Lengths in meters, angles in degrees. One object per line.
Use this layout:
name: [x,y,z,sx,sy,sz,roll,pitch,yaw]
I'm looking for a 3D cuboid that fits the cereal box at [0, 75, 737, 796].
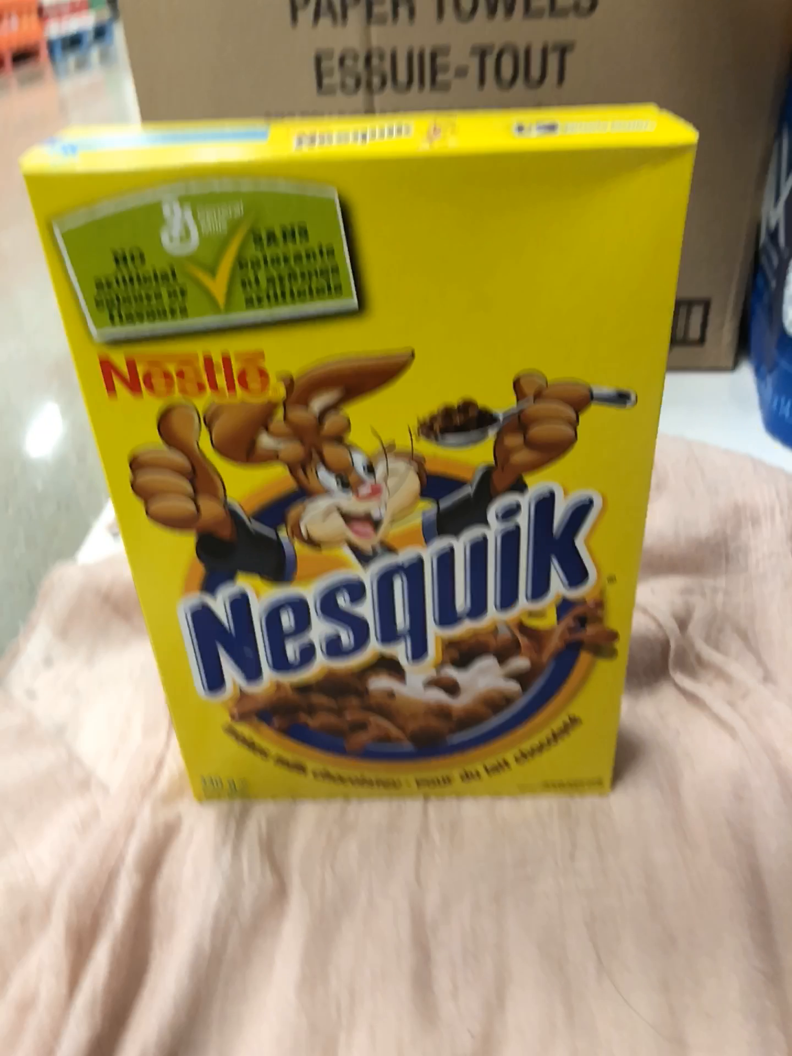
cereal box: [-0.007,-0.011,0.324,0.200,0.259,0.060,-2,35,4]
